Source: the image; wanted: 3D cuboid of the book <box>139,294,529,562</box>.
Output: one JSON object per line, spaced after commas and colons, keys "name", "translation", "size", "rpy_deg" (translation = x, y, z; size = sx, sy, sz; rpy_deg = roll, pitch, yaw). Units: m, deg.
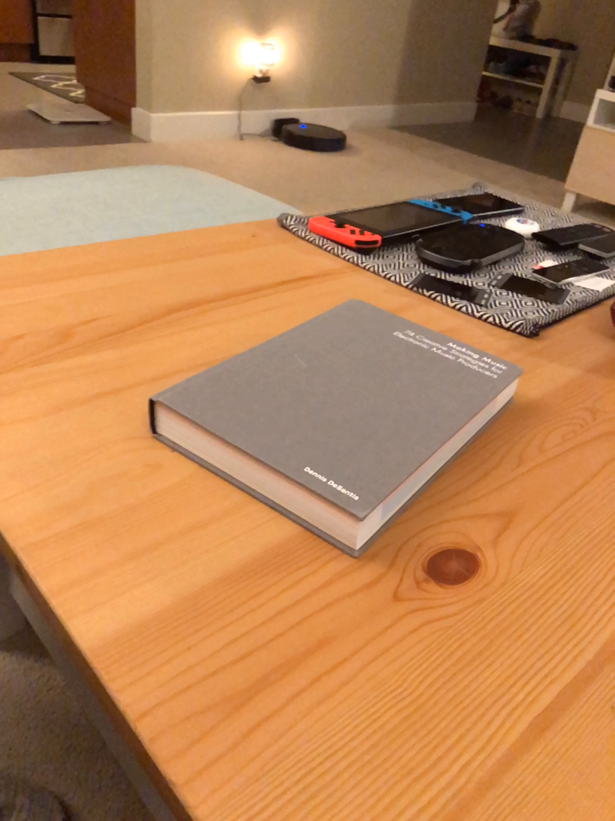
{"name": "book", "translation": [0.028, -0.010, 0.470], "size": [0.167, 0.030, 0.228], "rpy_deg": [28, 38, 27]}
